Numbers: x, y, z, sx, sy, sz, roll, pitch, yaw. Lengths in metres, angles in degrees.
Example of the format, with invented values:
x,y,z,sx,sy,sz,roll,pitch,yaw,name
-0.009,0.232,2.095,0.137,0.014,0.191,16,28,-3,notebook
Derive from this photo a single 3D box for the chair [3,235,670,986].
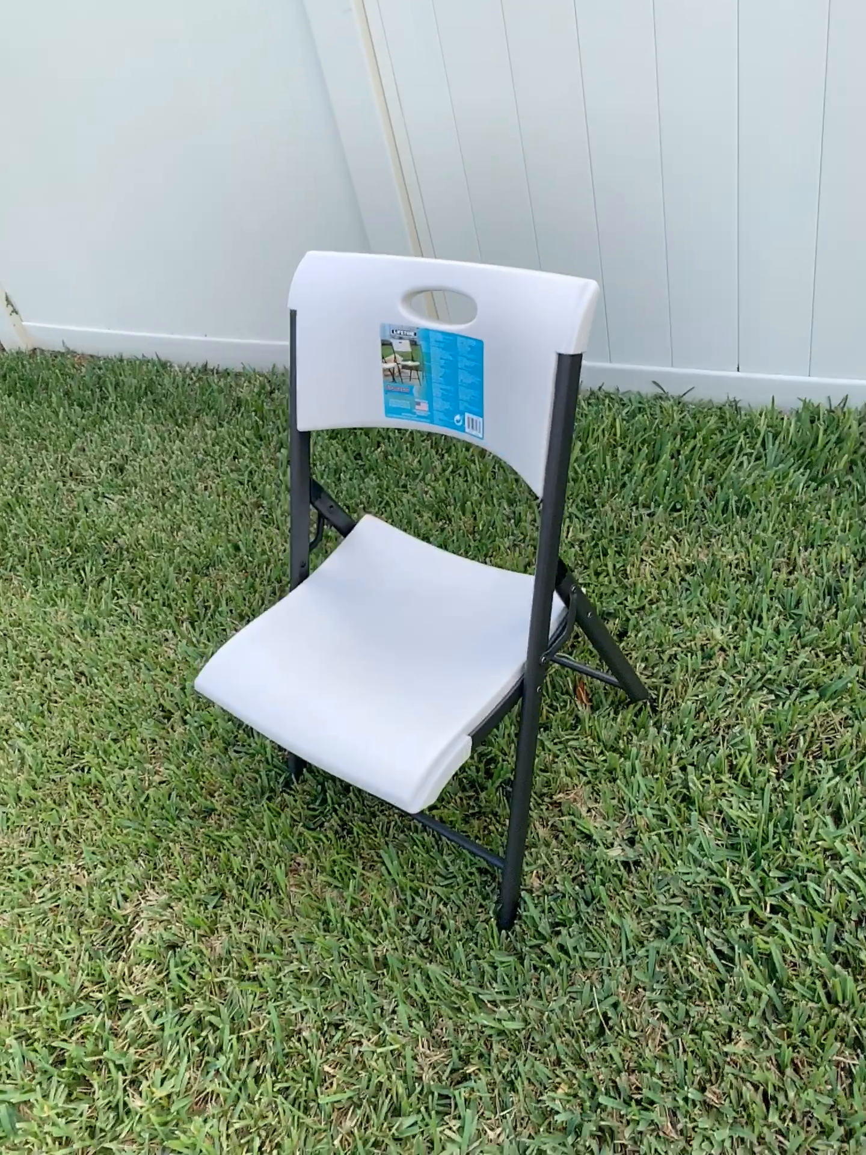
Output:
x,y,z,sx,sy,sz,roll,pitch,yaw,name
-0.050,0.023,1.221,0.521,0.765,0.517,19,50,36,chair
